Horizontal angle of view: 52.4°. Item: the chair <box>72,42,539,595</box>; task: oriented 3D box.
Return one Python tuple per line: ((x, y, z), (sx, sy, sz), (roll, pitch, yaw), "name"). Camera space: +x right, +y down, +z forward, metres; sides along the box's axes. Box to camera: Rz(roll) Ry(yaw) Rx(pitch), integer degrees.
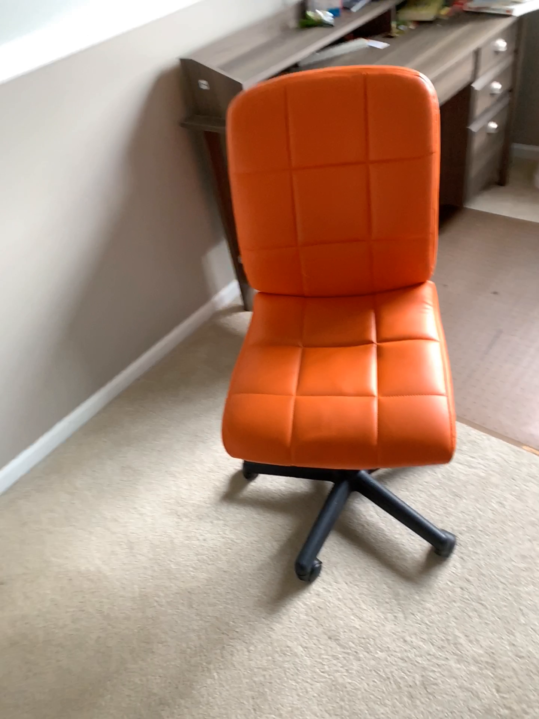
((0.163, -0.034, 1.144), (0.613, 0.902, 0.621), (-2, 43, 11), "chair")
